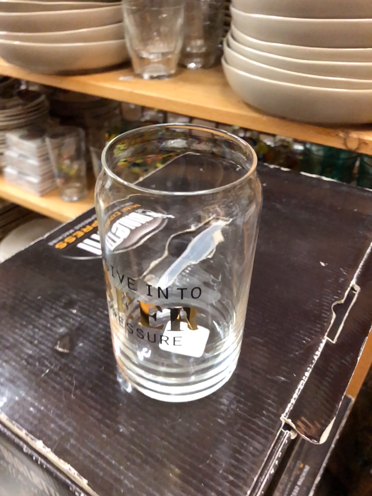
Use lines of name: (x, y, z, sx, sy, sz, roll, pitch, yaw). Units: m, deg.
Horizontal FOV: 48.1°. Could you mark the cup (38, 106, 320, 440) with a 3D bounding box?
cup: (0.000, 0.007, 0.206, 0.081, 0.116, 0.088, 1, 36, -1)
